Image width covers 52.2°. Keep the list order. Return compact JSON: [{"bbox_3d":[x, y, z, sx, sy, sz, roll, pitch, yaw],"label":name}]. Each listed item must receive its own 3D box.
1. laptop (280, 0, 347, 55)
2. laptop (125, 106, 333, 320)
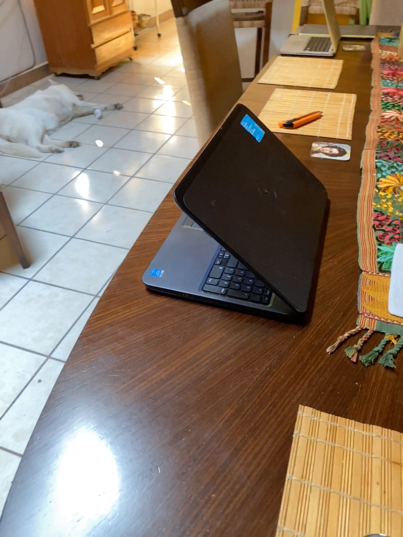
[{"bbox_3d":[0.496,-1.096,1.807,0.221,0.207,0.373,10,41,14],"label":"laptop"},{"bbox_3d":[0.069,-0.124,0.699,0.248,0.158,0.358,11,42,14],"label":"laptop"}]
